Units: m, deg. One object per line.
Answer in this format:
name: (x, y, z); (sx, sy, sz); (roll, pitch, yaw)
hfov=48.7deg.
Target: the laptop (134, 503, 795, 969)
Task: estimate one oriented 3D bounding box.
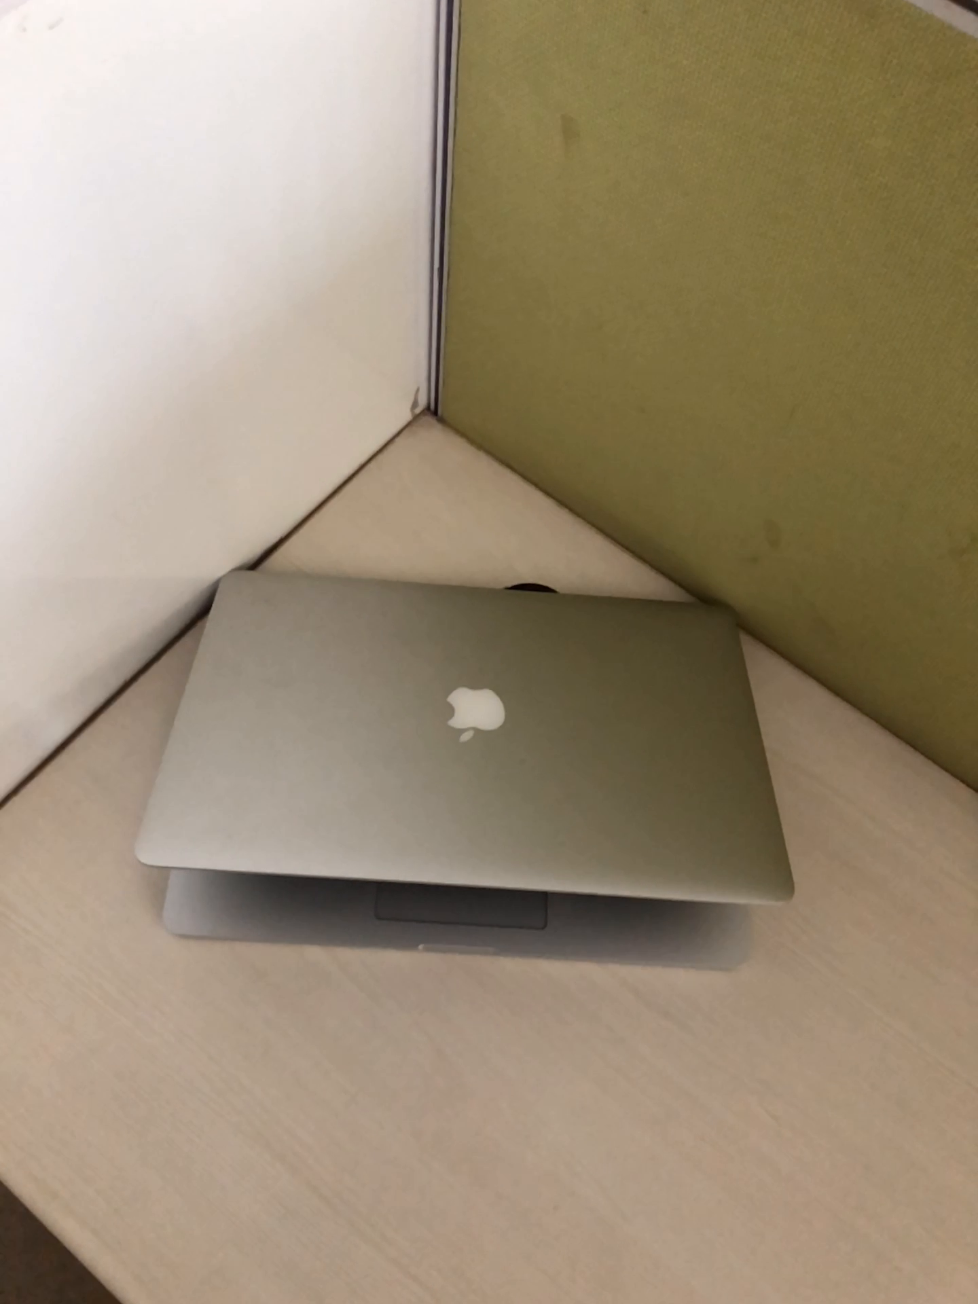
laptop: (-0.008, 0.049, 0.649); (0.343, 0.083, 0.244); (4, 64, -2)
